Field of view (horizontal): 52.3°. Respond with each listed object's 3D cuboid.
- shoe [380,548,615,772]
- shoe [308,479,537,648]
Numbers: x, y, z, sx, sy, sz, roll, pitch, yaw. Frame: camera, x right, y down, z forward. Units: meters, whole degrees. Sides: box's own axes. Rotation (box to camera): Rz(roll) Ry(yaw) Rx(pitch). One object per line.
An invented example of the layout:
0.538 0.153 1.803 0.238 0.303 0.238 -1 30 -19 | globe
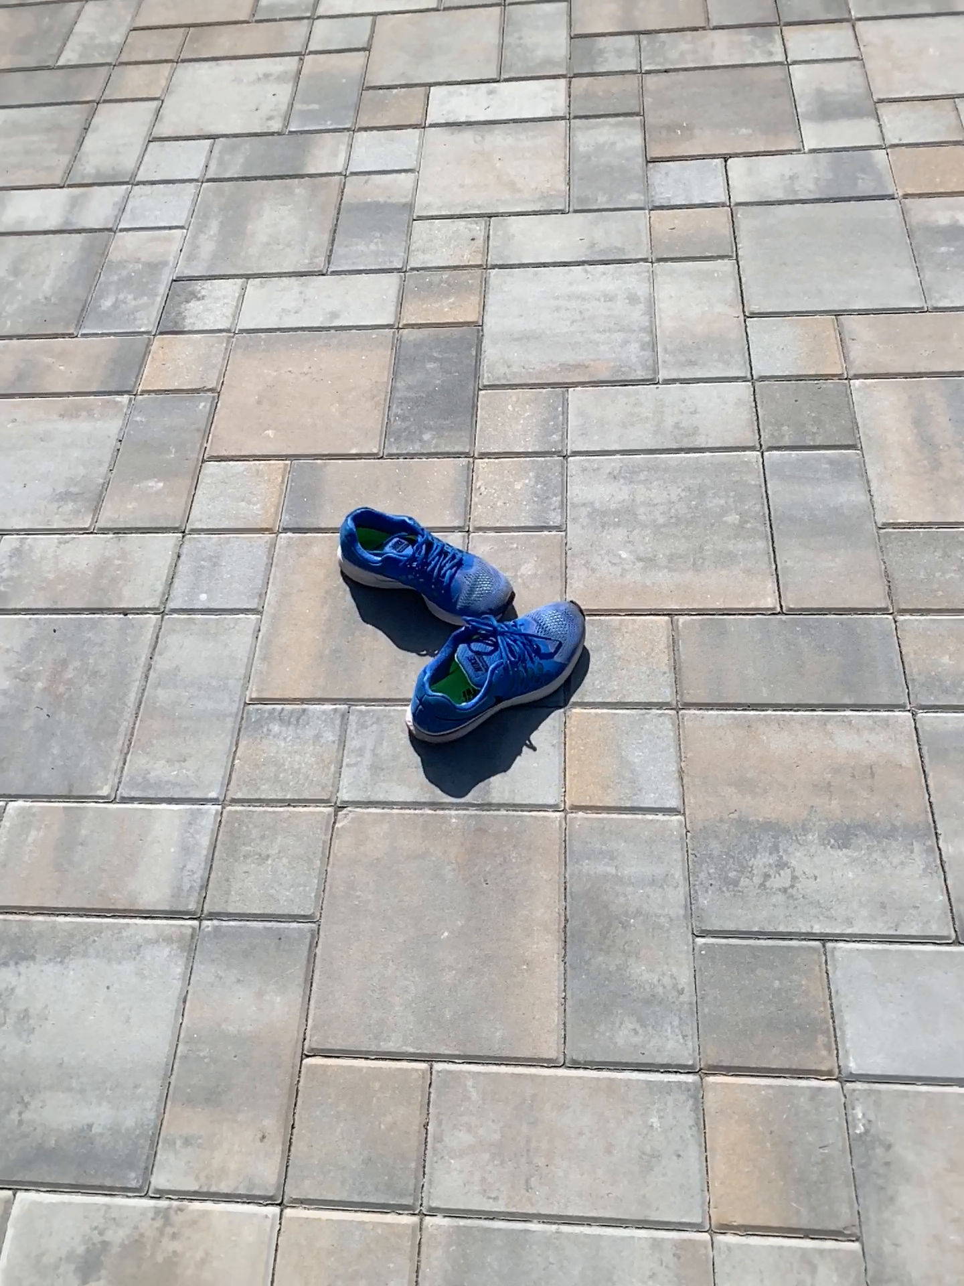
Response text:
0.024 0.020 1.246 0.270 0.110 0.120 -35 63 -15 | shoe
-0.079 -0.110 1.333 0.281 0.080 0.120 22 64 17 | shoe
